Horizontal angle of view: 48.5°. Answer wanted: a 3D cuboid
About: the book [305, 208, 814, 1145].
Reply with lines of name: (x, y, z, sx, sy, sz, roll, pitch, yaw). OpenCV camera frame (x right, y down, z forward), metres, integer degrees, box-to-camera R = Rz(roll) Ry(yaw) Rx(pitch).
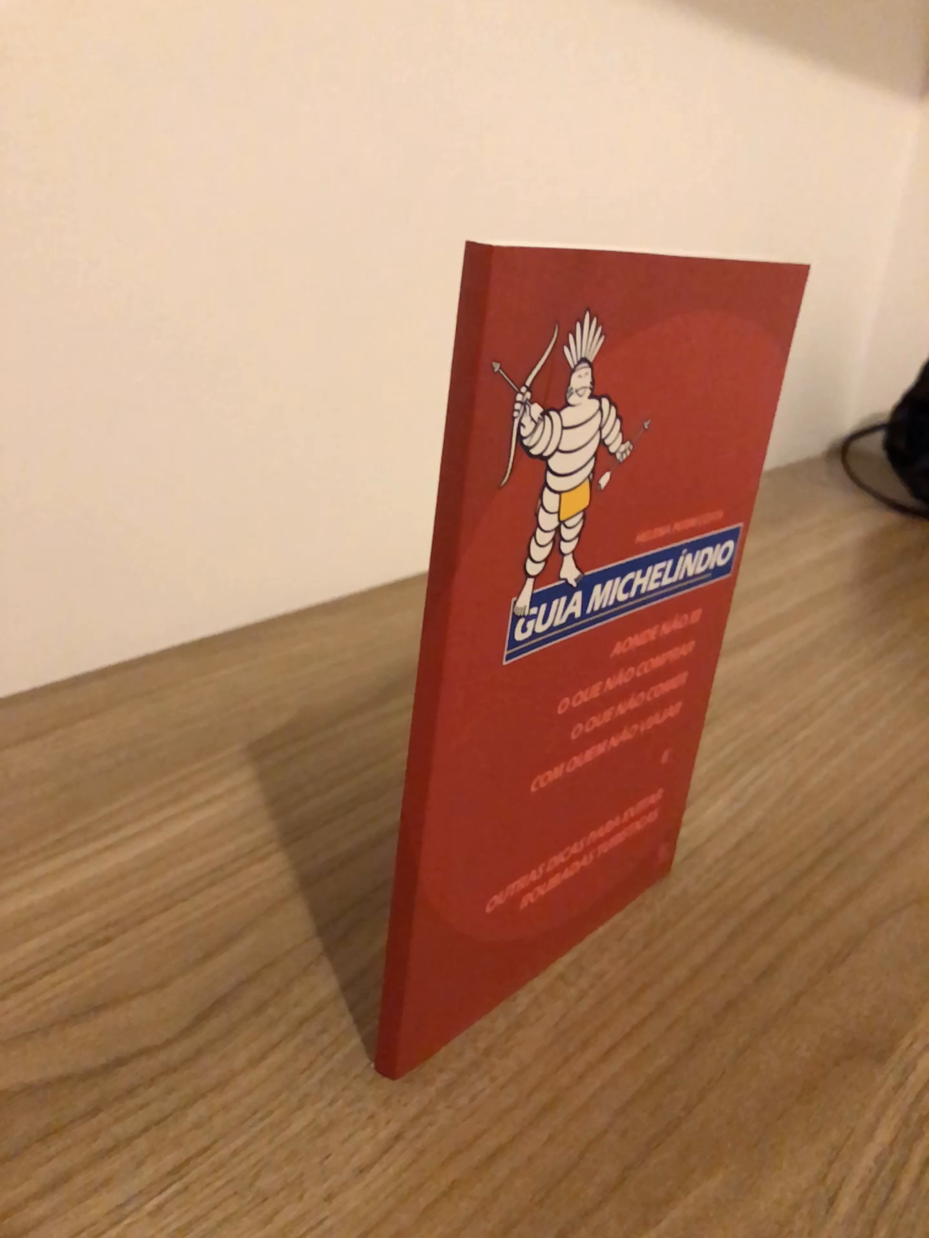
book: (0.028, 0.011, 0.278, 0.020, 0.218, 0.151, 24, 28, 33)
